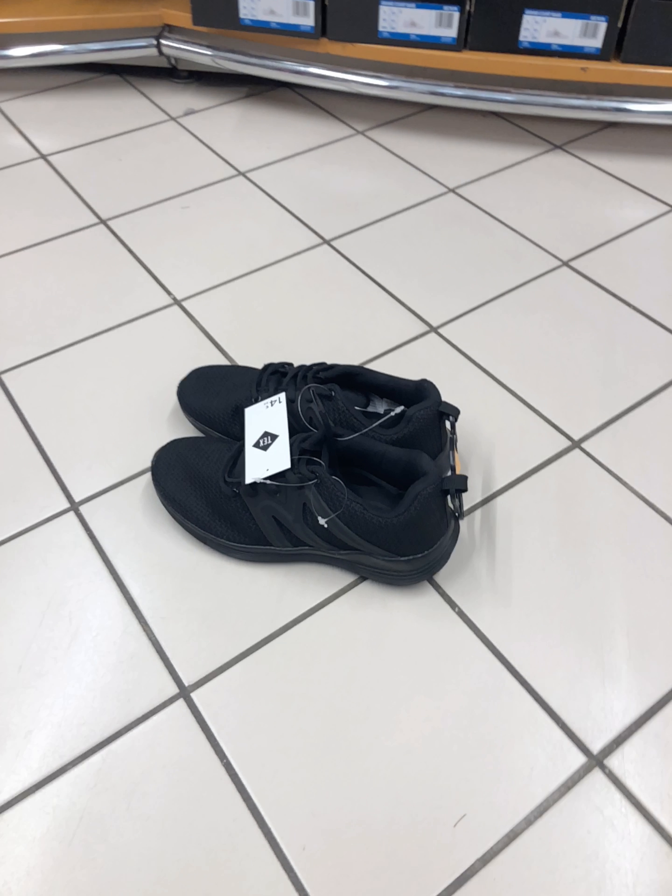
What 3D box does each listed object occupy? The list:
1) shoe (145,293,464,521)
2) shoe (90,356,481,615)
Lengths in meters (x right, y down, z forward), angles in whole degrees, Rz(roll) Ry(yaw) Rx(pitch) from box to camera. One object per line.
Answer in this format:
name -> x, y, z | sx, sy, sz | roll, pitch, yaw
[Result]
shoe -> -0.026, -0.040, 0.666 | 0.250, 0.109, 0.101 | 15, 50, 13
shoe -> -0.035, 0.028, 0.589 | 0.270, 0.119, 0.101 | 12, 50, 10
